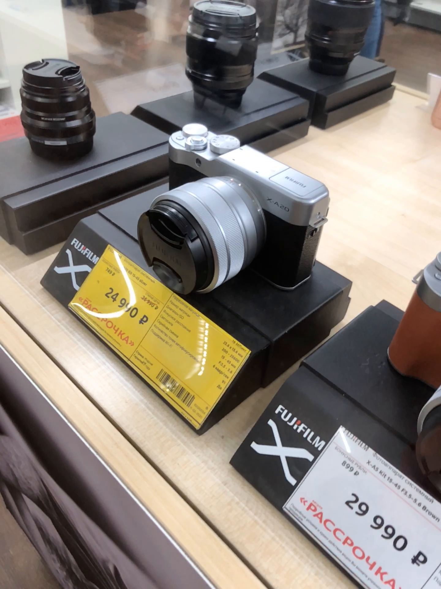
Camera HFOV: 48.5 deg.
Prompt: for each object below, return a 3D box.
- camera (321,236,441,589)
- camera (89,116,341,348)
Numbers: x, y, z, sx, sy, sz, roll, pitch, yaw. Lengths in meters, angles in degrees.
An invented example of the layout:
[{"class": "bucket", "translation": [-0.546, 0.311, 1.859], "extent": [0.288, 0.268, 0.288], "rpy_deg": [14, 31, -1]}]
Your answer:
[{"class": "camera", "translation": [0.130, 0.048, 0.220], "extent": [0.088, 0.072, 0.128], "rpy_deg": [-30, 52, -34]}, {"class": "camera", "translation": [-0.008, -0.046, 0.307], "extent": [0.088, 0.072, 0.120], "rpy_deg": [-30, 52, -34]}]
